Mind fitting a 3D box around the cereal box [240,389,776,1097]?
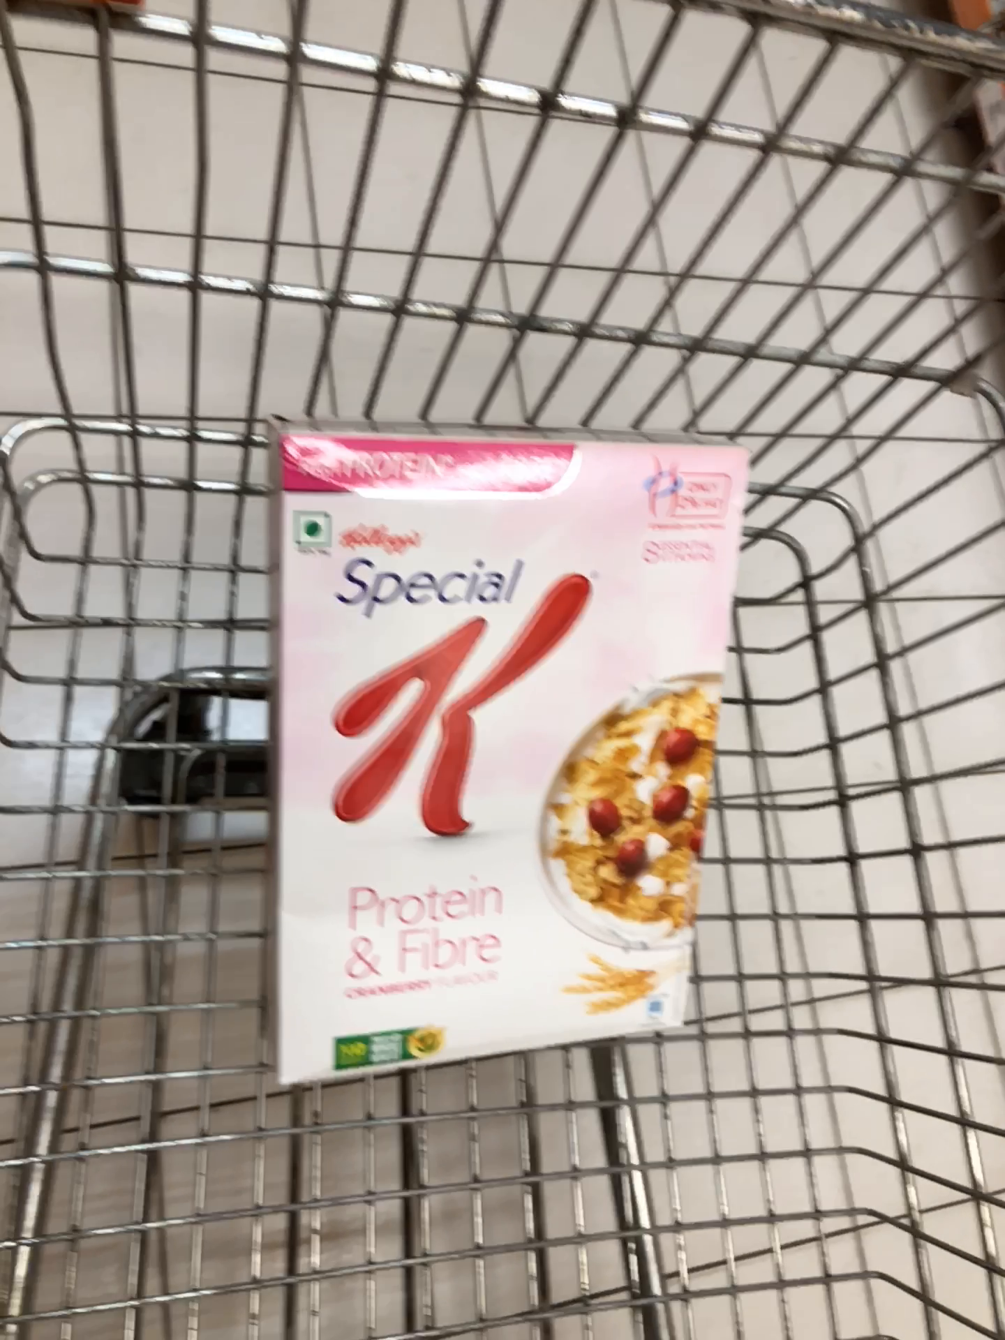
[{"bbox_3d":[-0.011,0.026,0.485,0.190,0.100,0.269,-2,110,-19],"label":"cereal box"}]
